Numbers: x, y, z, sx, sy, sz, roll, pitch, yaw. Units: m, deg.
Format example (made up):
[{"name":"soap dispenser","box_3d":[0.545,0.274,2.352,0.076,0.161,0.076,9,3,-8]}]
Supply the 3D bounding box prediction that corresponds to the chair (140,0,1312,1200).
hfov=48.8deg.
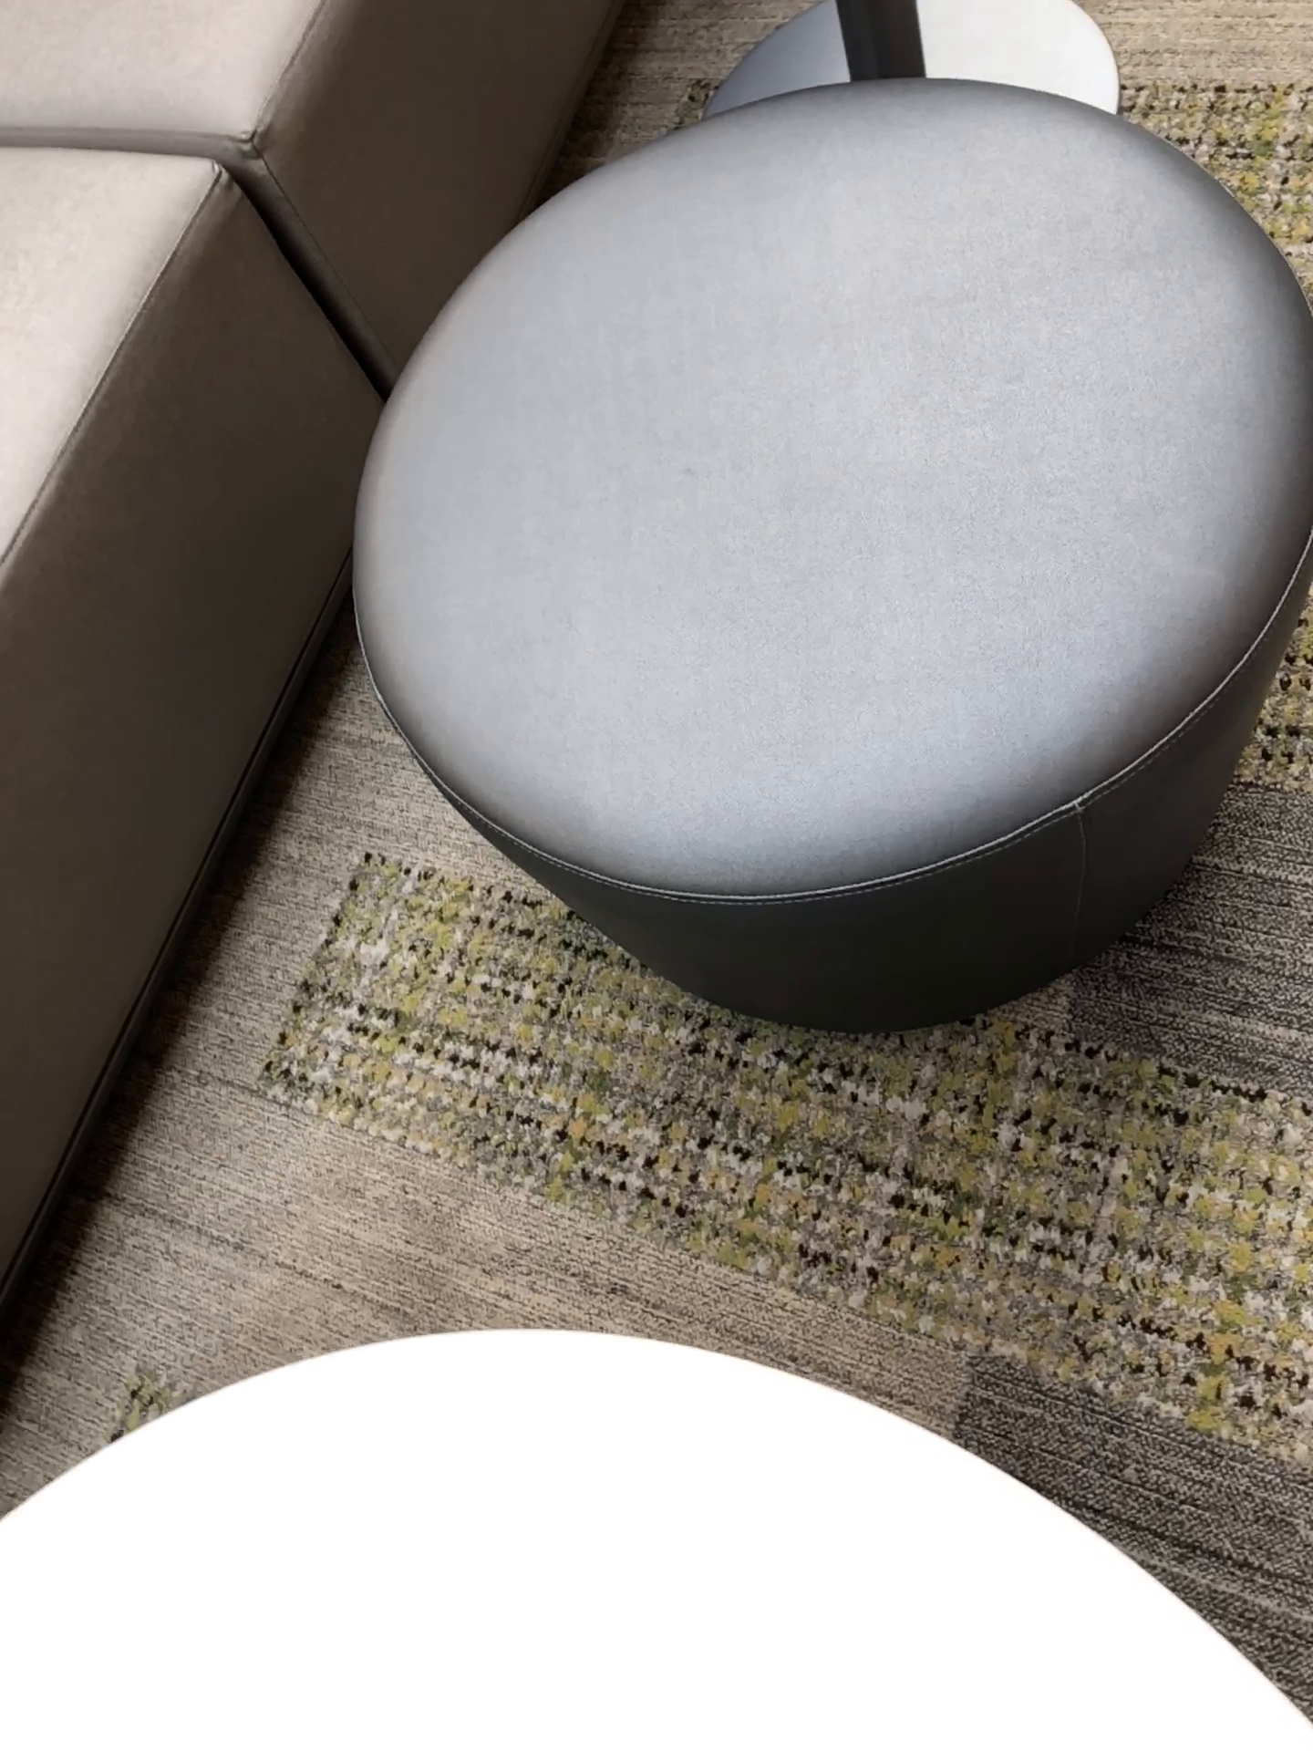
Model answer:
[{"name":"chair","box_3d":[0.131,-0.209,1.021,0.571,0.459,0.620,17,74,24]}]
